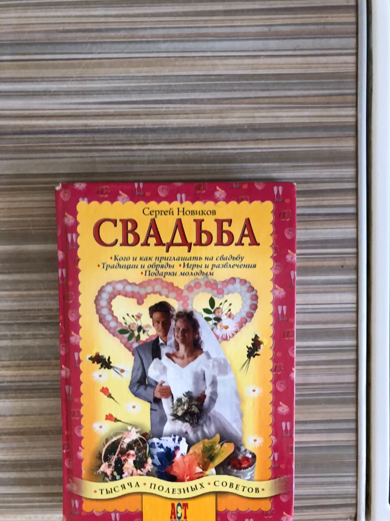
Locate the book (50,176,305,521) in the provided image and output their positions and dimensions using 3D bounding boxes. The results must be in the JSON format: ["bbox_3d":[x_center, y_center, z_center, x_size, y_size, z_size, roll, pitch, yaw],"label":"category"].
[{"bbox_3d":[-0.009,0.060,0.269,0.150,0.020,0.220,0,93,-1],"label":"book"}]
